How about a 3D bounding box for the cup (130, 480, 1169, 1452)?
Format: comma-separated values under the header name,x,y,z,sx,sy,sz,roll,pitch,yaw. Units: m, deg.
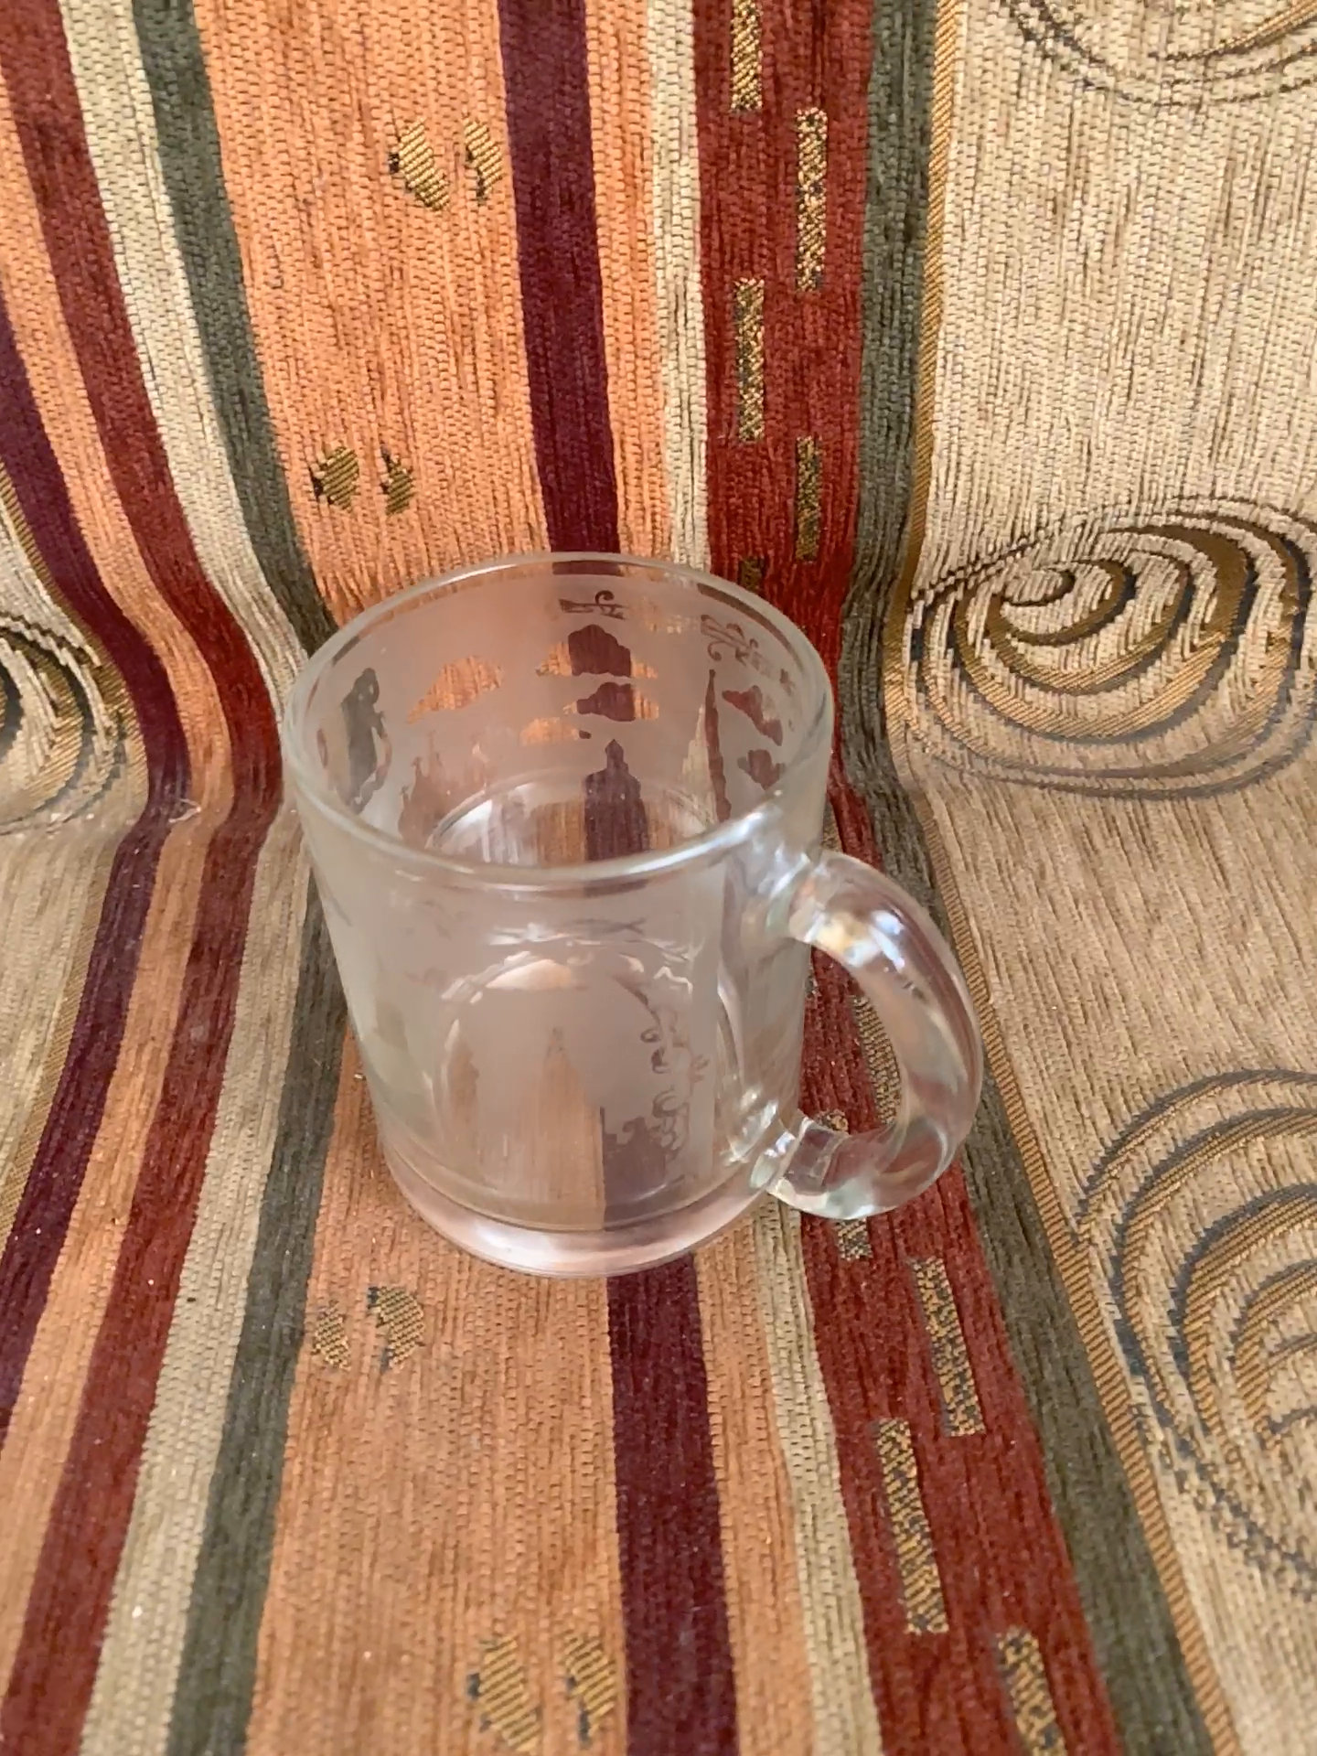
name,x,y,z,sx,sy,sz,roll,pitch,yaw
cup,0.002,0.007,0.213,0.115,0.086,0.084,18,45,20
